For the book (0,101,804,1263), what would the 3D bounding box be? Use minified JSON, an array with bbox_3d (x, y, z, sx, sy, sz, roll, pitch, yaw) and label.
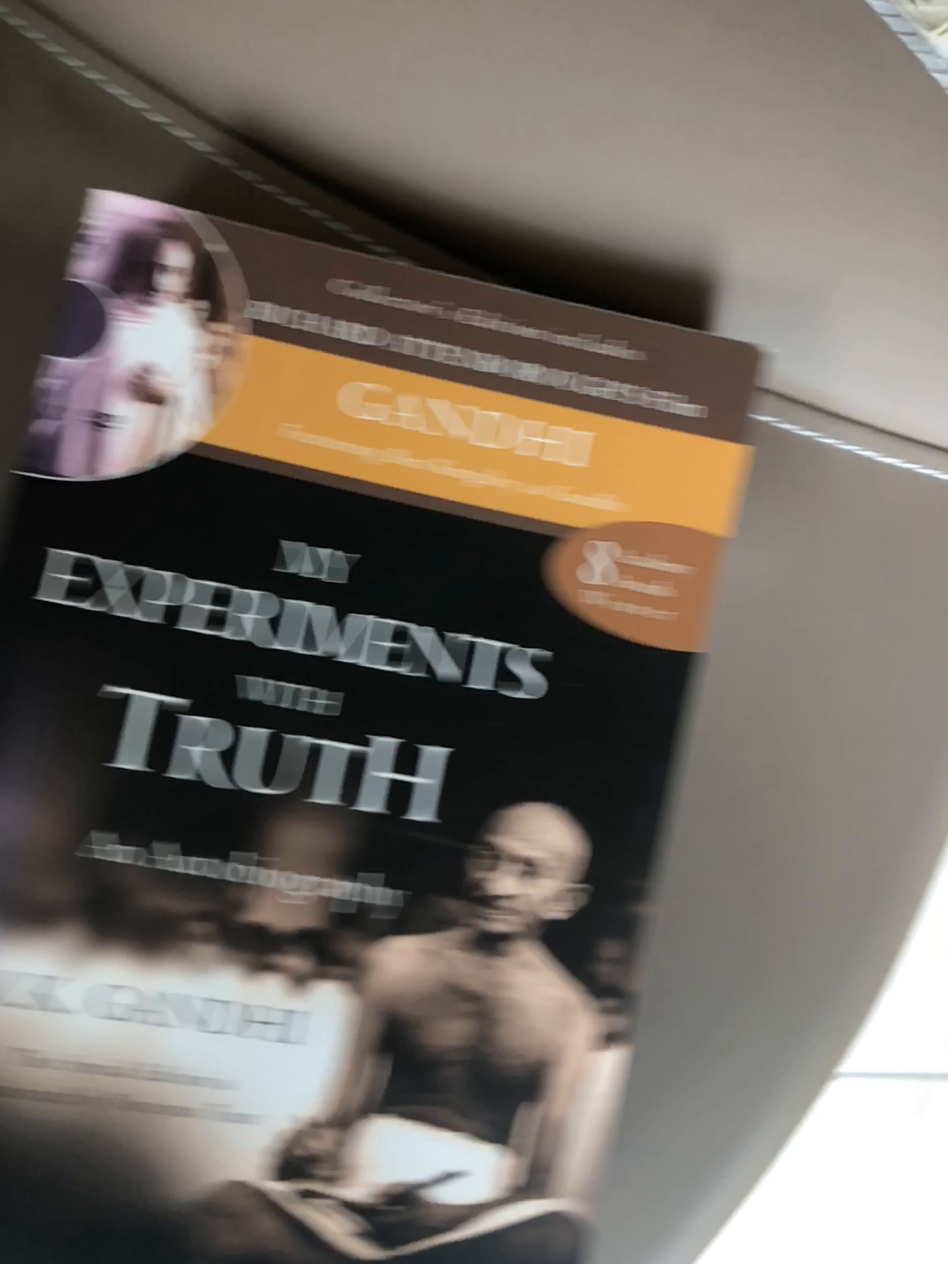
[{"bbox_3d":[-0.029,0.032,0.227,0.150,0.050,0.240,13,83,-9],"label":"book"}]
